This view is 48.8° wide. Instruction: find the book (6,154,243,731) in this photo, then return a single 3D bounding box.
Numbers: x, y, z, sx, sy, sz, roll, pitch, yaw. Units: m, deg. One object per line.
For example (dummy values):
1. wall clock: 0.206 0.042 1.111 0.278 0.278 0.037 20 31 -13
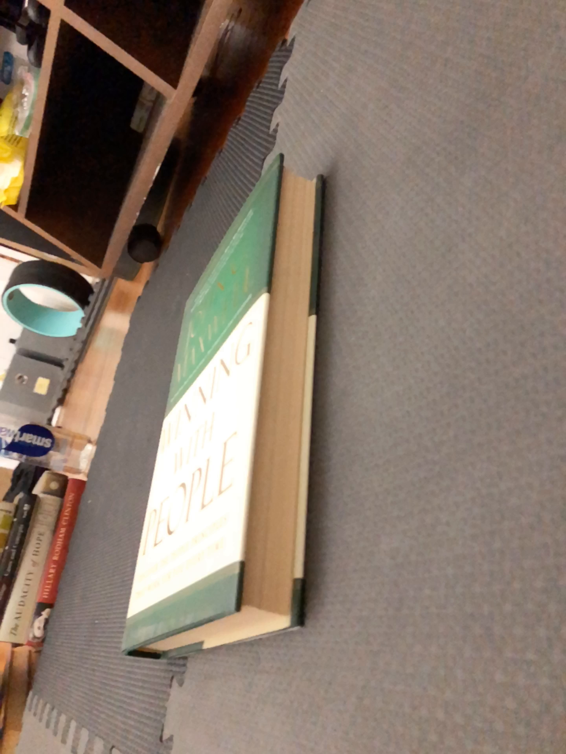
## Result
1. book: -0.097 0.040 0.377 0.200 0.030 0.291 -42 35 54
